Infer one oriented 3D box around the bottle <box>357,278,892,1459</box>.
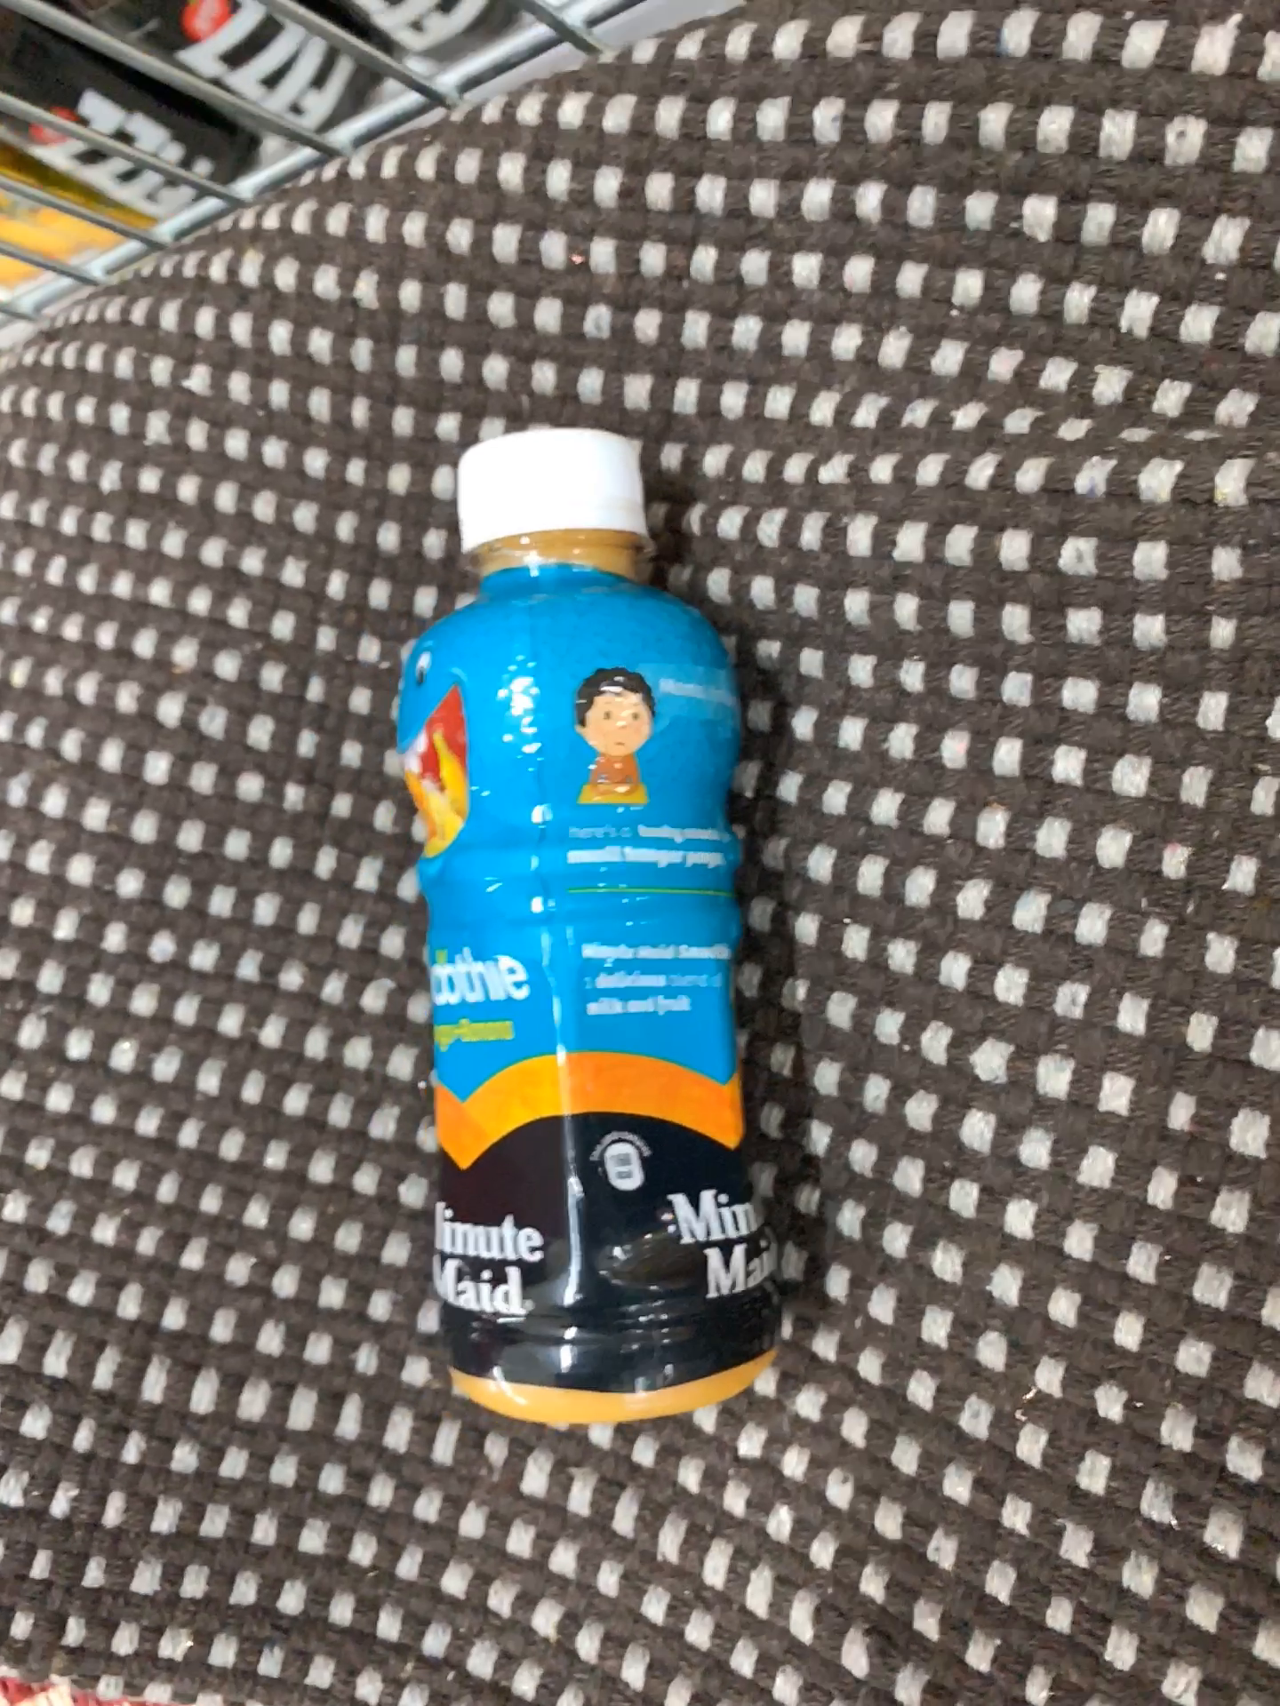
[{"bbox_3d":[-0.003,0.003,0.213,0.060,0.040,0.160,-6,88,30],"label":"bottle"}]
